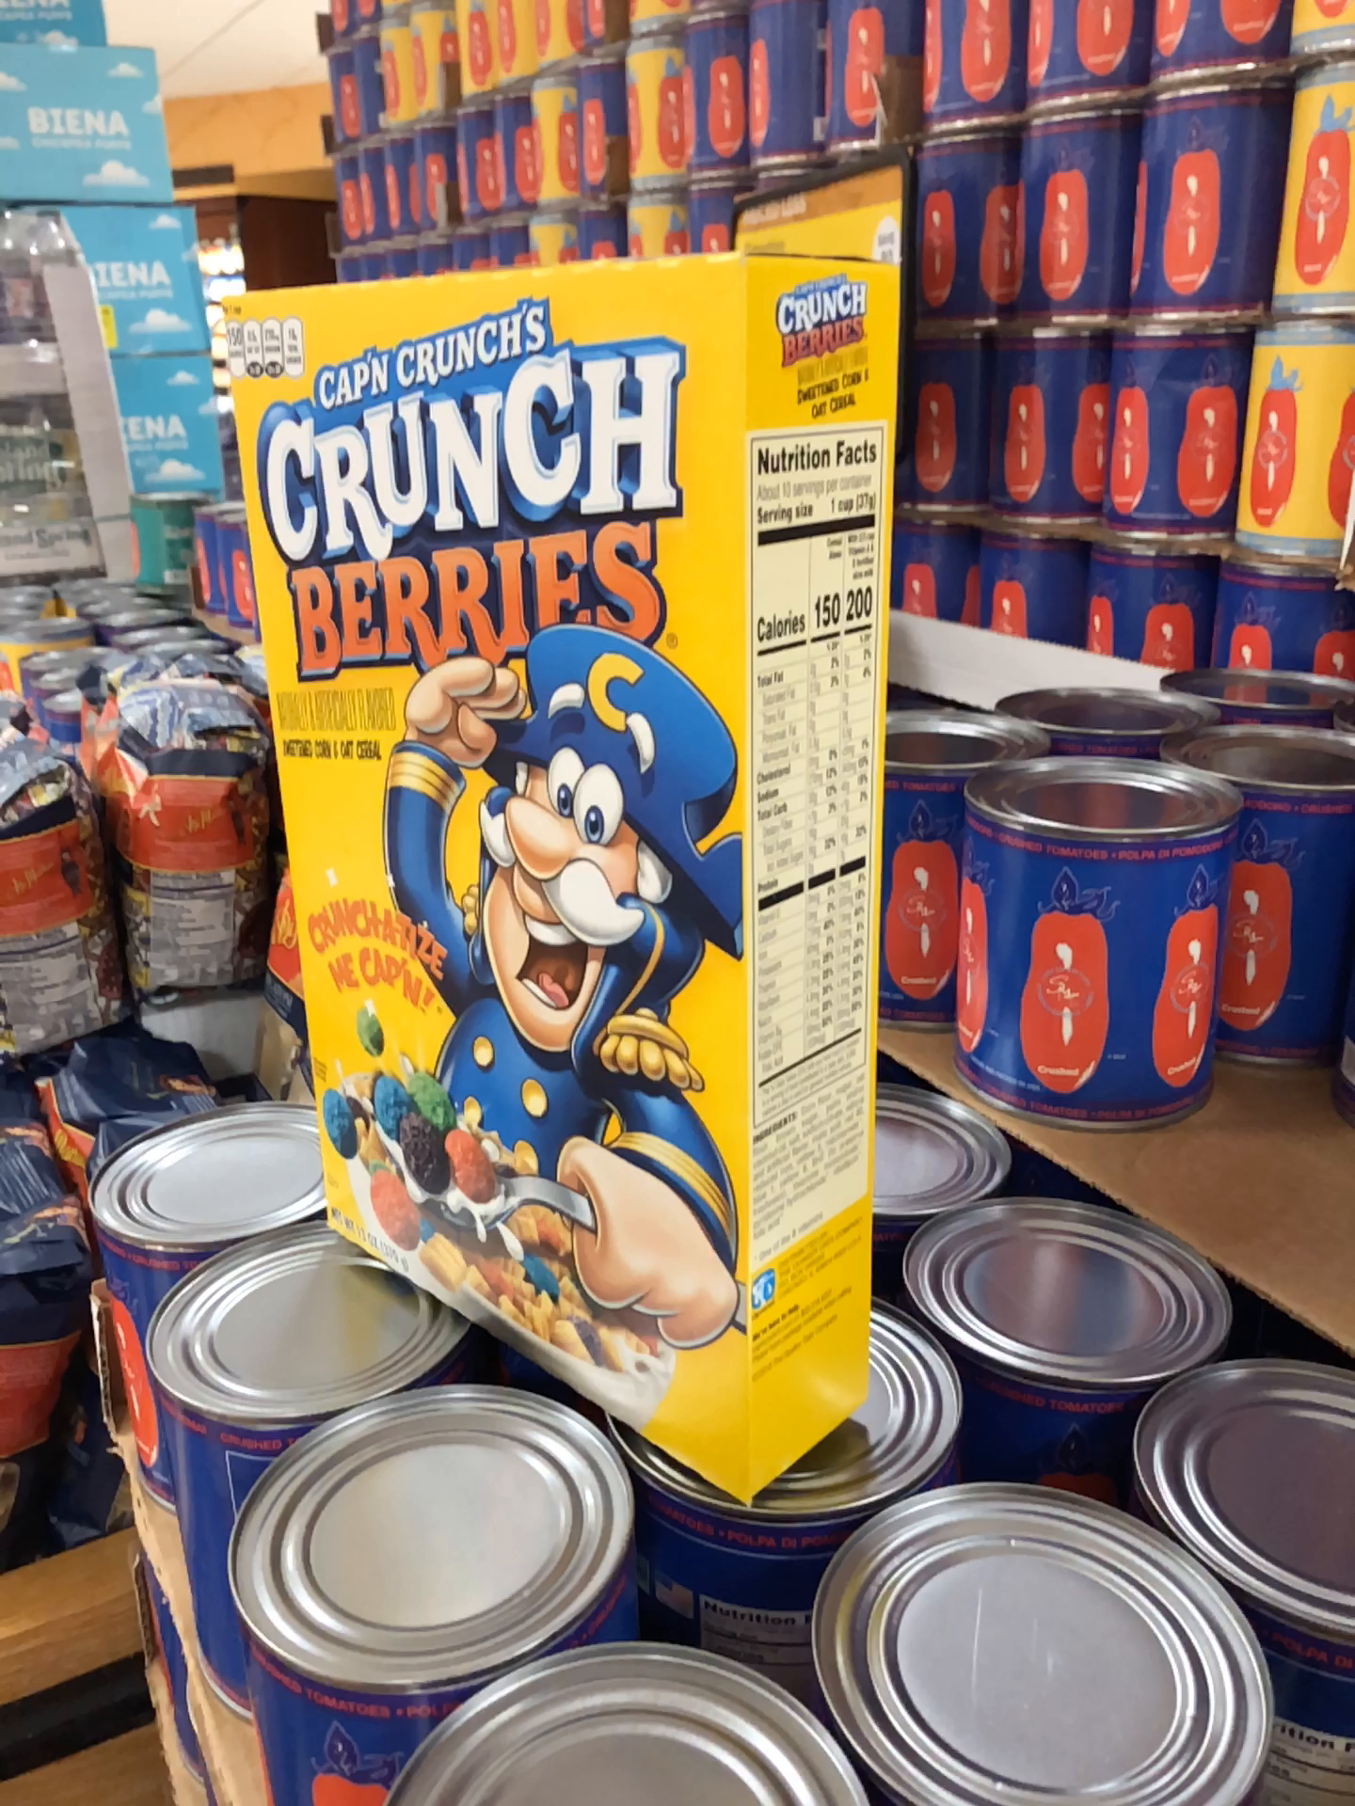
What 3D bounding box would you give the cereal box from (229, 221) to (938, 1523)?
[{"bbox_3d":[-0.029,-0.015,0.408,0.060,0.298,0.190,-20,26,-41],"label":"cereal box"}]
